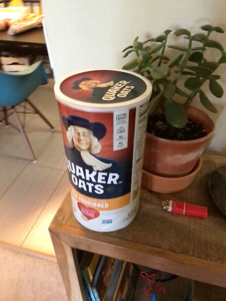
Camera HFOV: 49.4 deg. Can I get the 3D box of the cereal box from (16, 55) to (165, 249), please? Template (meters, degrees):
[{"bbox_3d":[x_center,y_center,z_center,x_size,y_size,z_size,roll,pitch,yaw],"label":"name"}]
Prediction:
[{"bbox_3d":[-0.020,0.004,0.393,0.140,0.248,0.141,17,42,21],"label":"cereal box"}]
